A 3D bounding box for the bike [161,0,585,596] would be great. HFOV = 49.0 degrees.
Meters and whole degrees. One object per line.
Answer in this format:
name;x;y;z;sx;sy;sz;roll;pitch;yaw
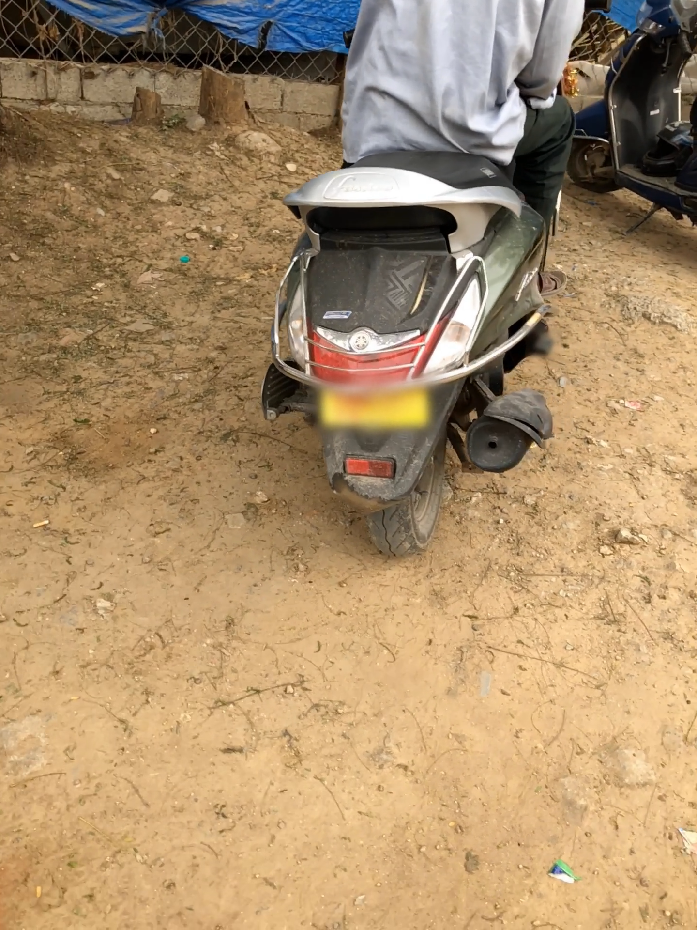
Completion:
bike;0.159;-0.766;2.018;0.622;1.054;1.733;13;36;8
